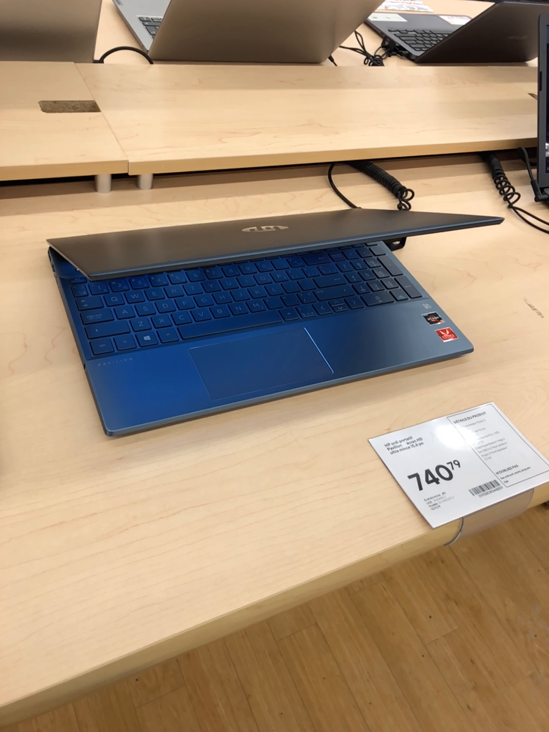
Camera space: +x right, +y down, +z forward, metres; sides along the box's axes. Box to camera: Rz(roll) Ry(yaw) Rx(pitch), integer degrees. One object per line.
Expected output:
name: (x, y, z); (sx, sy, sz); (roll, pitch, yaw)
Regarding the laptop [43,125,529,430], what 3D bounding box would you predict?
laptop: (0.004, -0.101, 0.534); (0.350, 0.119, 0.209); (-12, 51, -24)
